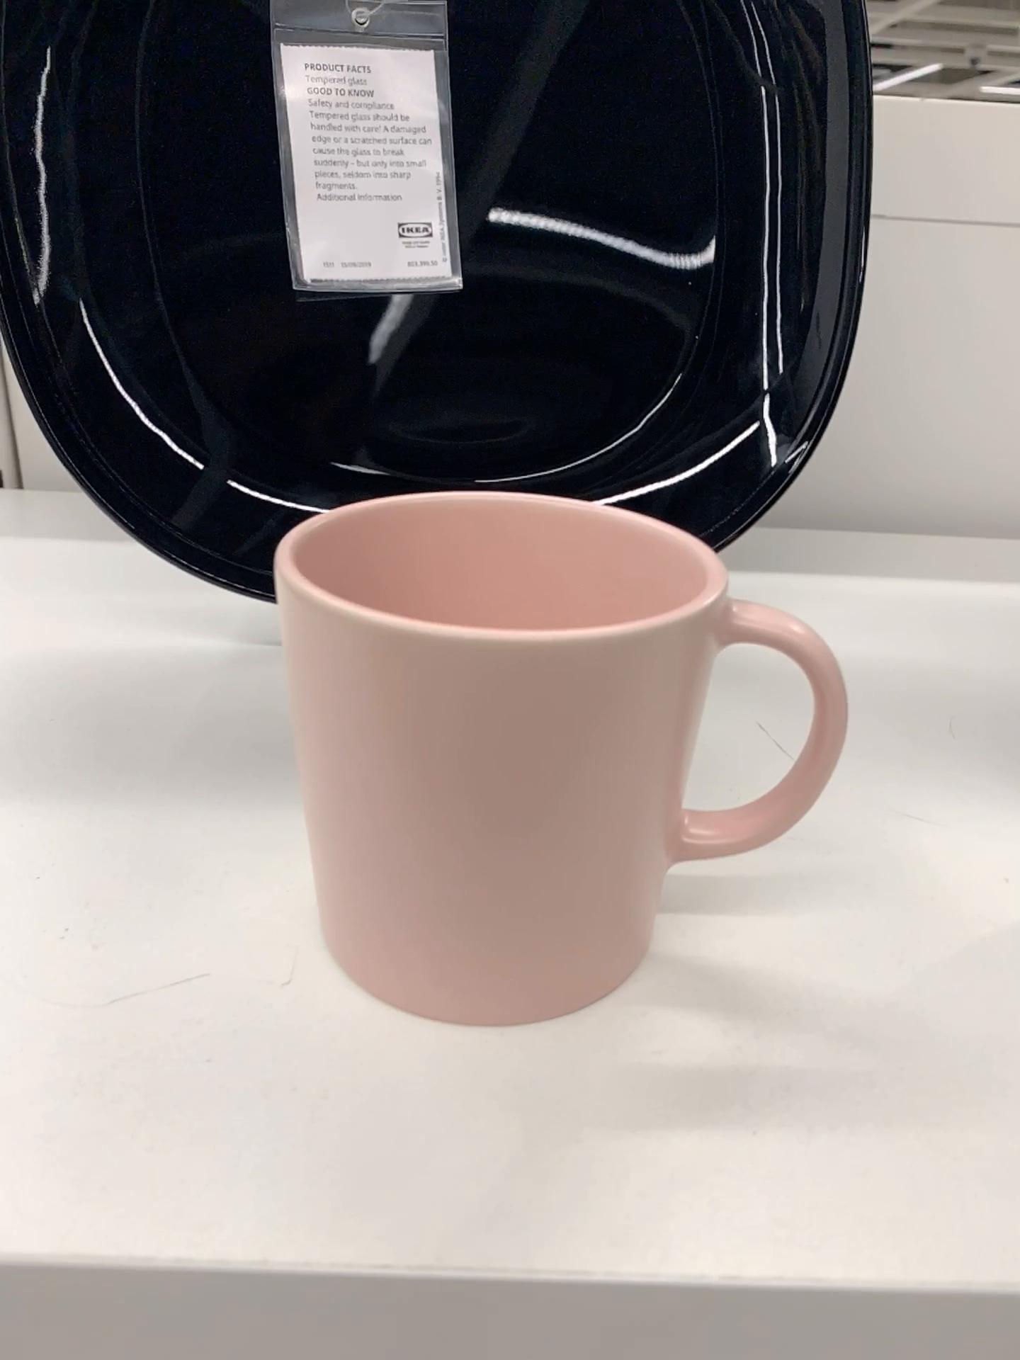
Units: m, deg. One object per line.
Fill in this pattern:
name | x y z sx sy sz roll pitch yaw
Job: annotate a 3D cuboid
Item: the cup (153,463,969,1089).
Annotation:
cup | 0.009 0.010 0.211 0.120 0.080 0.090 5 24 5
